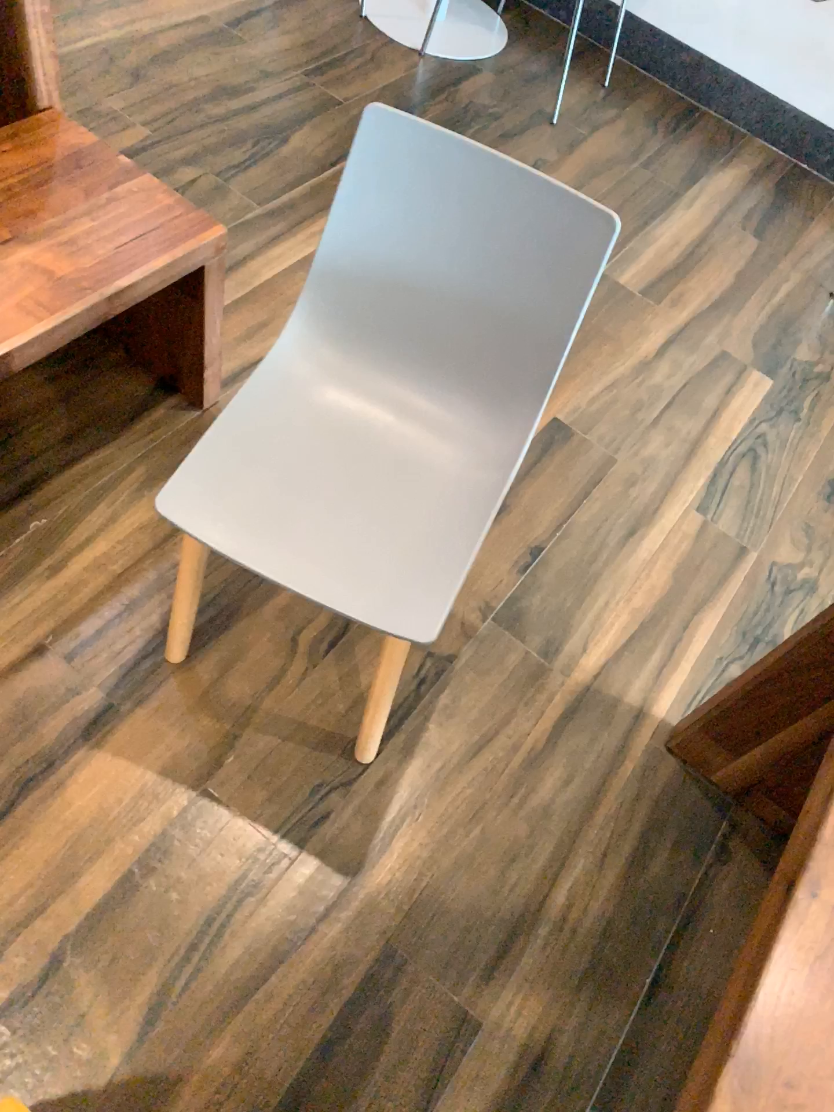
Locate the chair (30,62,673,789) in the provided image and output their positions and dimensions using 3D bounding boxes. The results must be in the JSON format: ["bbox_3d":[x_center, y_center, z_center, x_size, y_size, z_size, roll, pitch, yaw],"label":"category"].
[{"bbox_3d":[-0.095,-0.142,1.210,0.500,0.696,0.563,29,55,4],"label":"chair"}]
